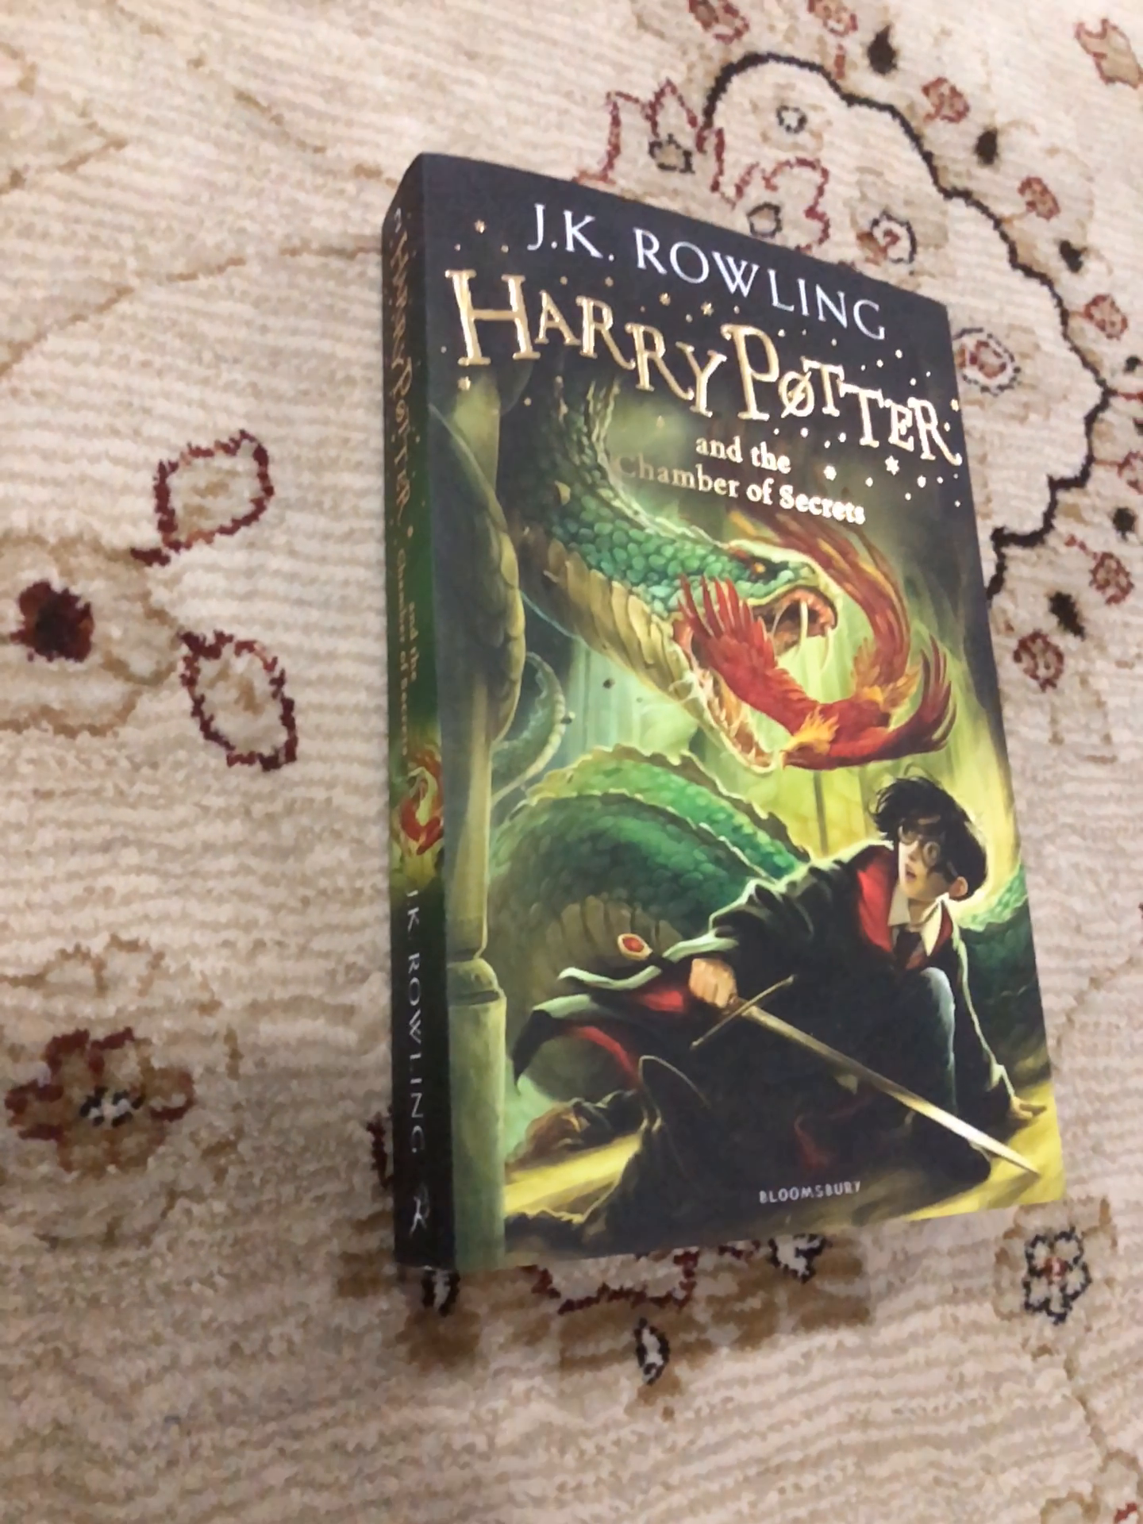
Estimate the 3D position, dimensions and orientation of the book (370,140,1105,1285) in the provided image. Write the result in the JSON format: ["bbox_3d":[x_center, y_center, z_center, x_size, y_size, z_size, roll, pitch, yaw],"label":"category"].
[{"bbox_3d":[0.029,-0.012,0.252,0.131,0.030,0.200,4,72,-25],"label":"book"}]
